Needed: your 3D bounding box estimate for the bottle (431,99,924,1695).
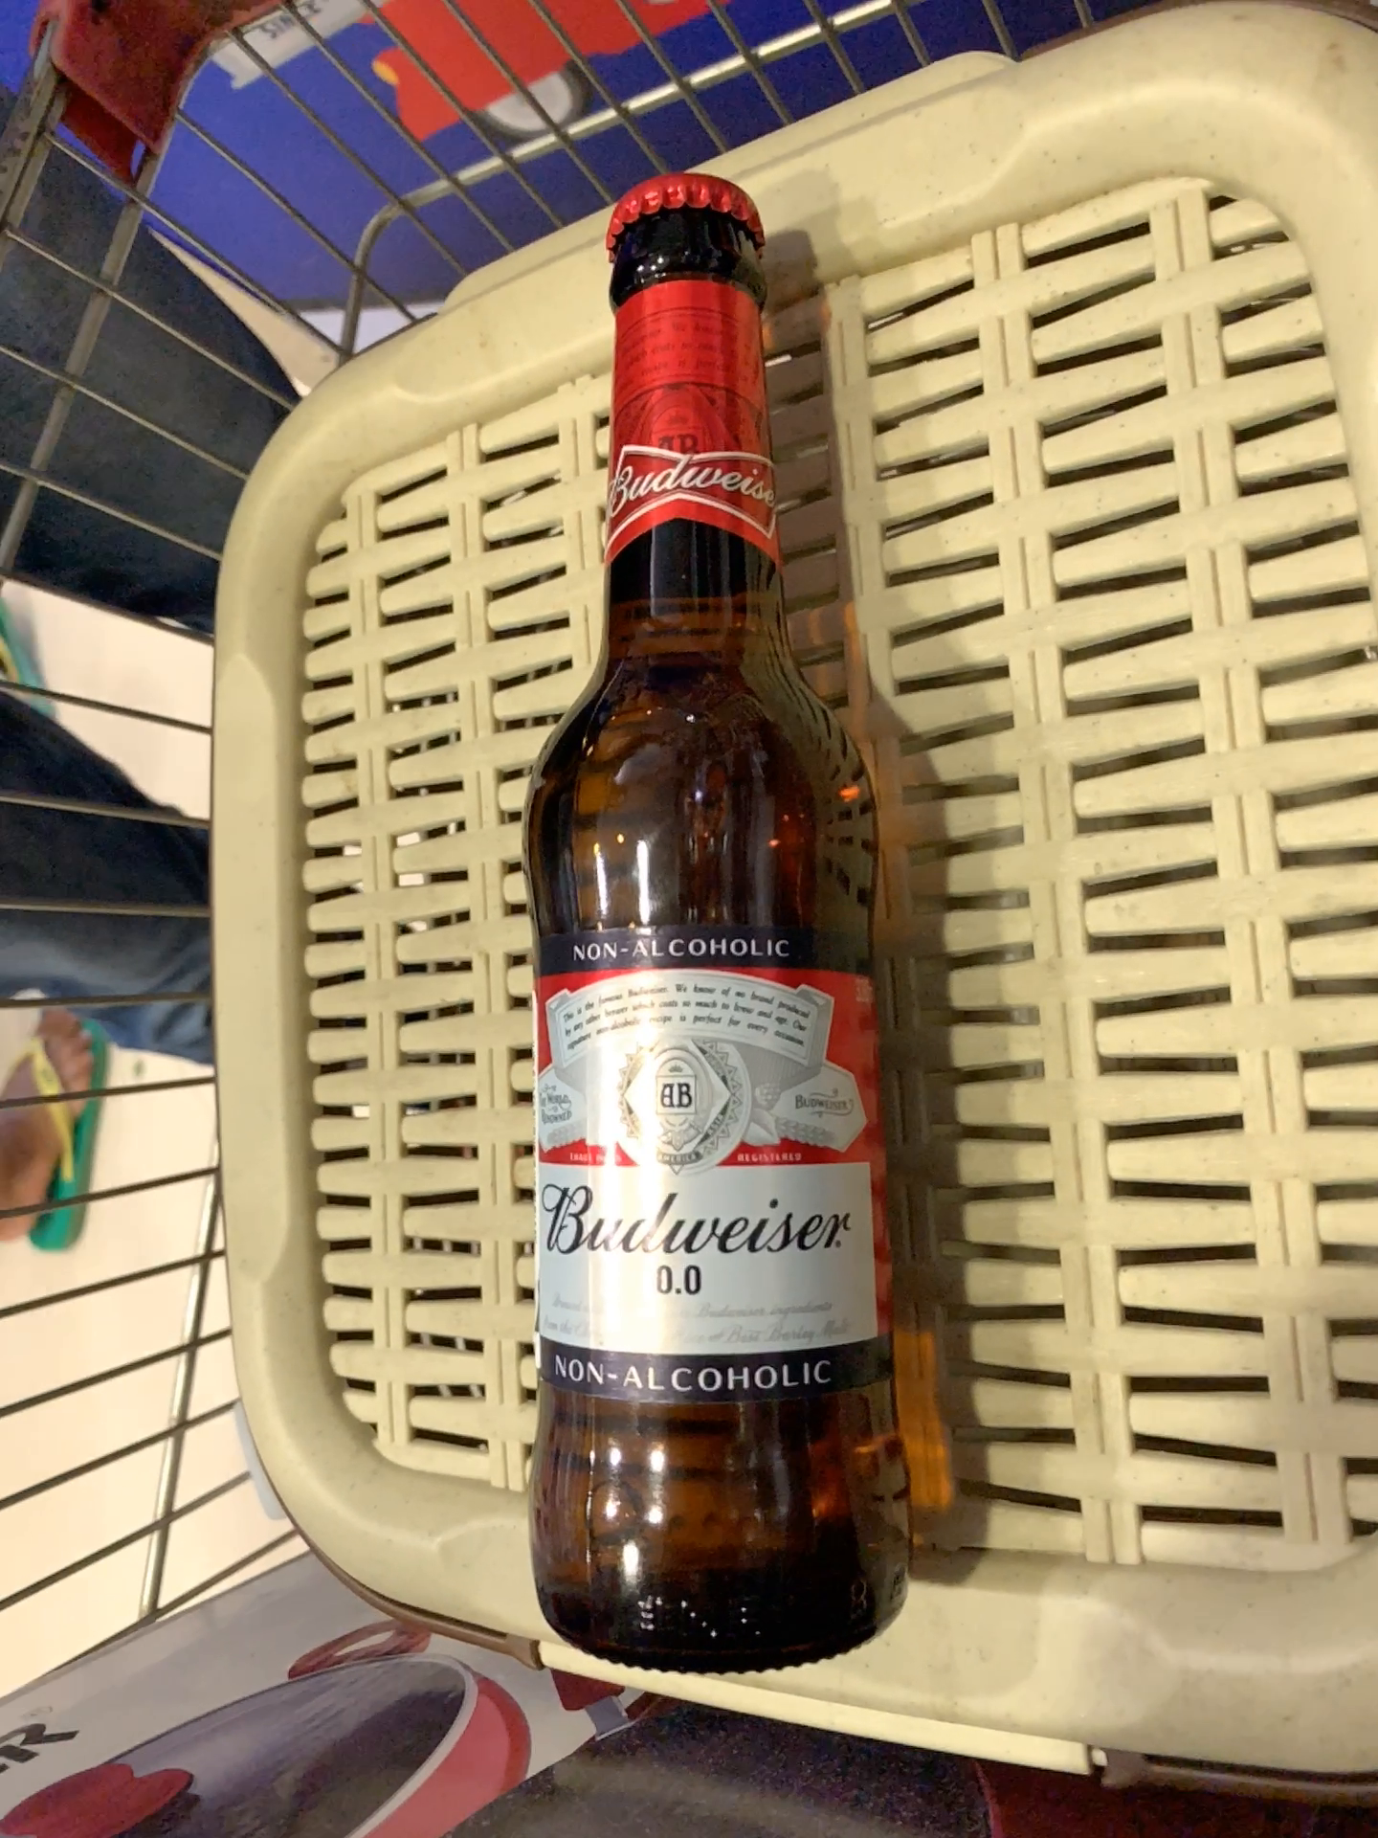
[{"bbox_3d":[0.000,-0.005,0.231,0.060,0.060,0.220,-3,84,14],"label":"bottle"}]
